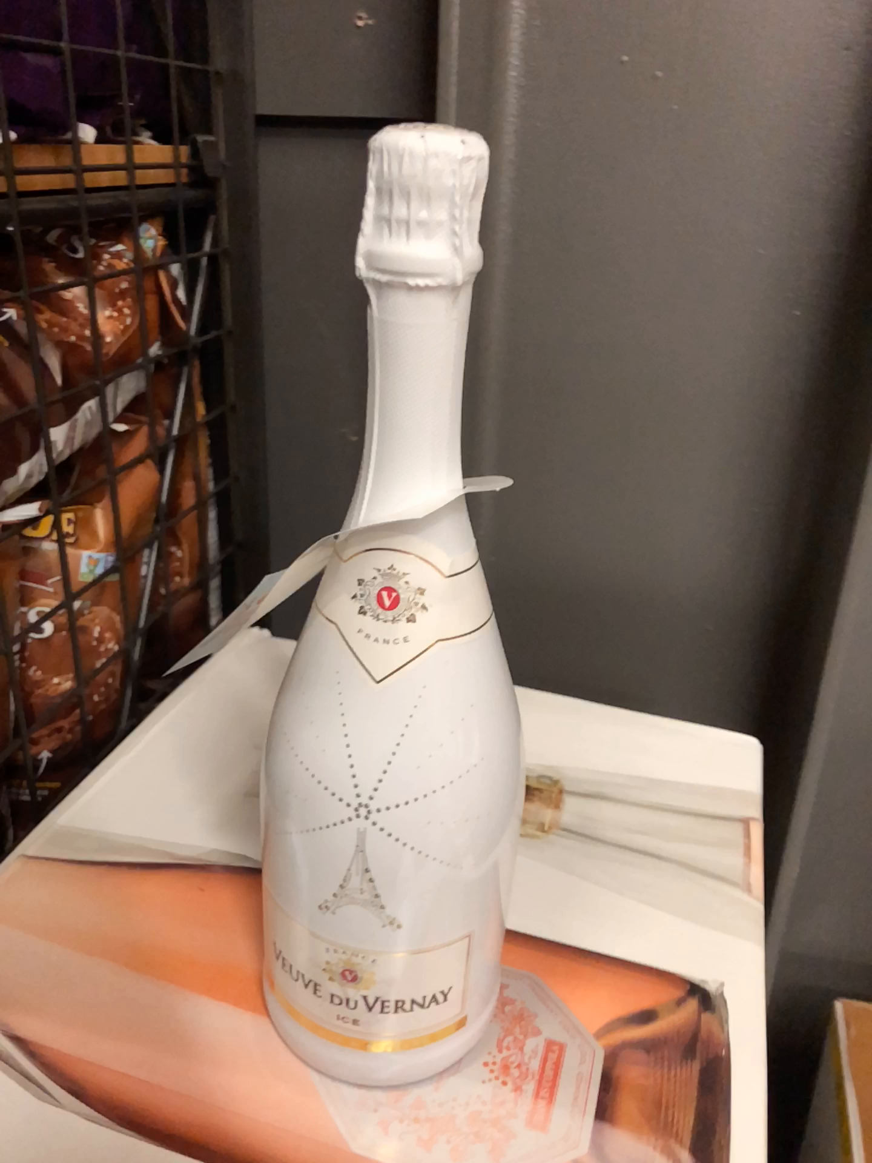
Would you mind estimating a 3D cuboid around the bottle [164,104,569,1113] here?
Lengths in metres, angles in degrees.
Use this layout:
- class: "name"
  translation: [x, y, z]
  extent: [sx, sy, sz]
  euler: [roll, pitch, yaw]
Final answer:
- class: "bottle"
  translation: [-0.016, 0.018, 0.320]
  extent: [0.086, 0.310, 0.094]
  euler: [2, 24, -1]
